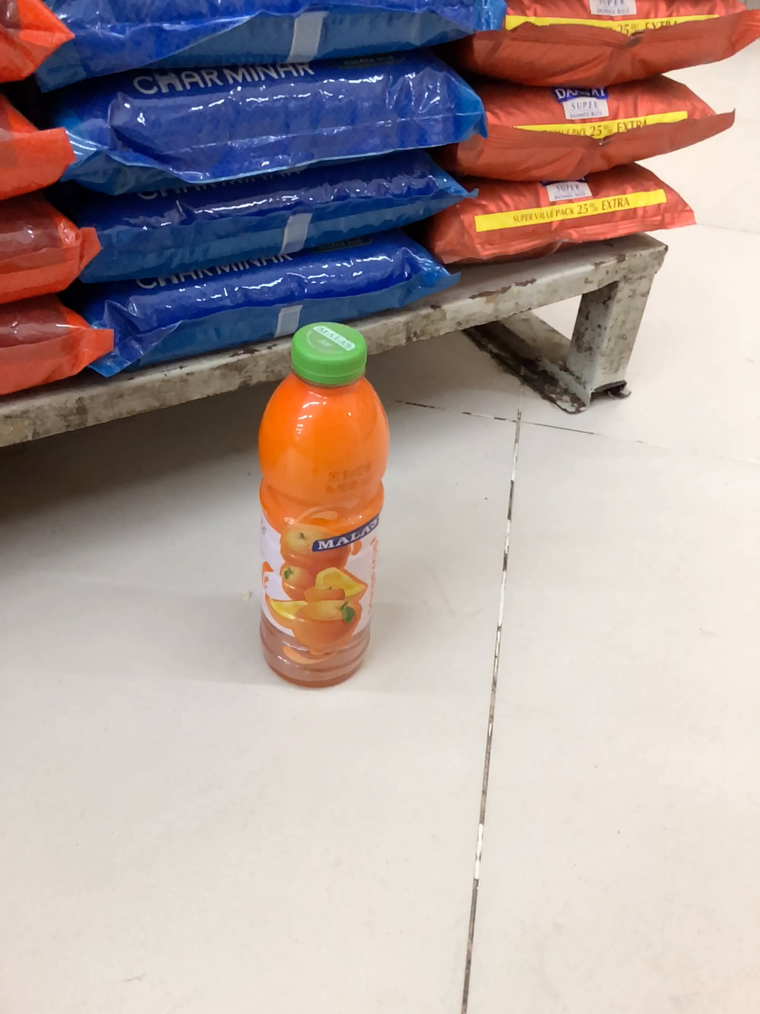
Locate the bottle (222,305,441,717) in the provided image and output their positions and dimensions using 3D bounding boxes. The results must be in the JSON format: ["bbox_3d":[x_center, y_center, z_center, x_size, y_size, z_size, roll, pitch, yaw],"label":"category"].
[{"bbox_3d":[-0.037,0.011,0.513,0.090,0.238,0.090,3,41,-3],"label":"bottle"}]
